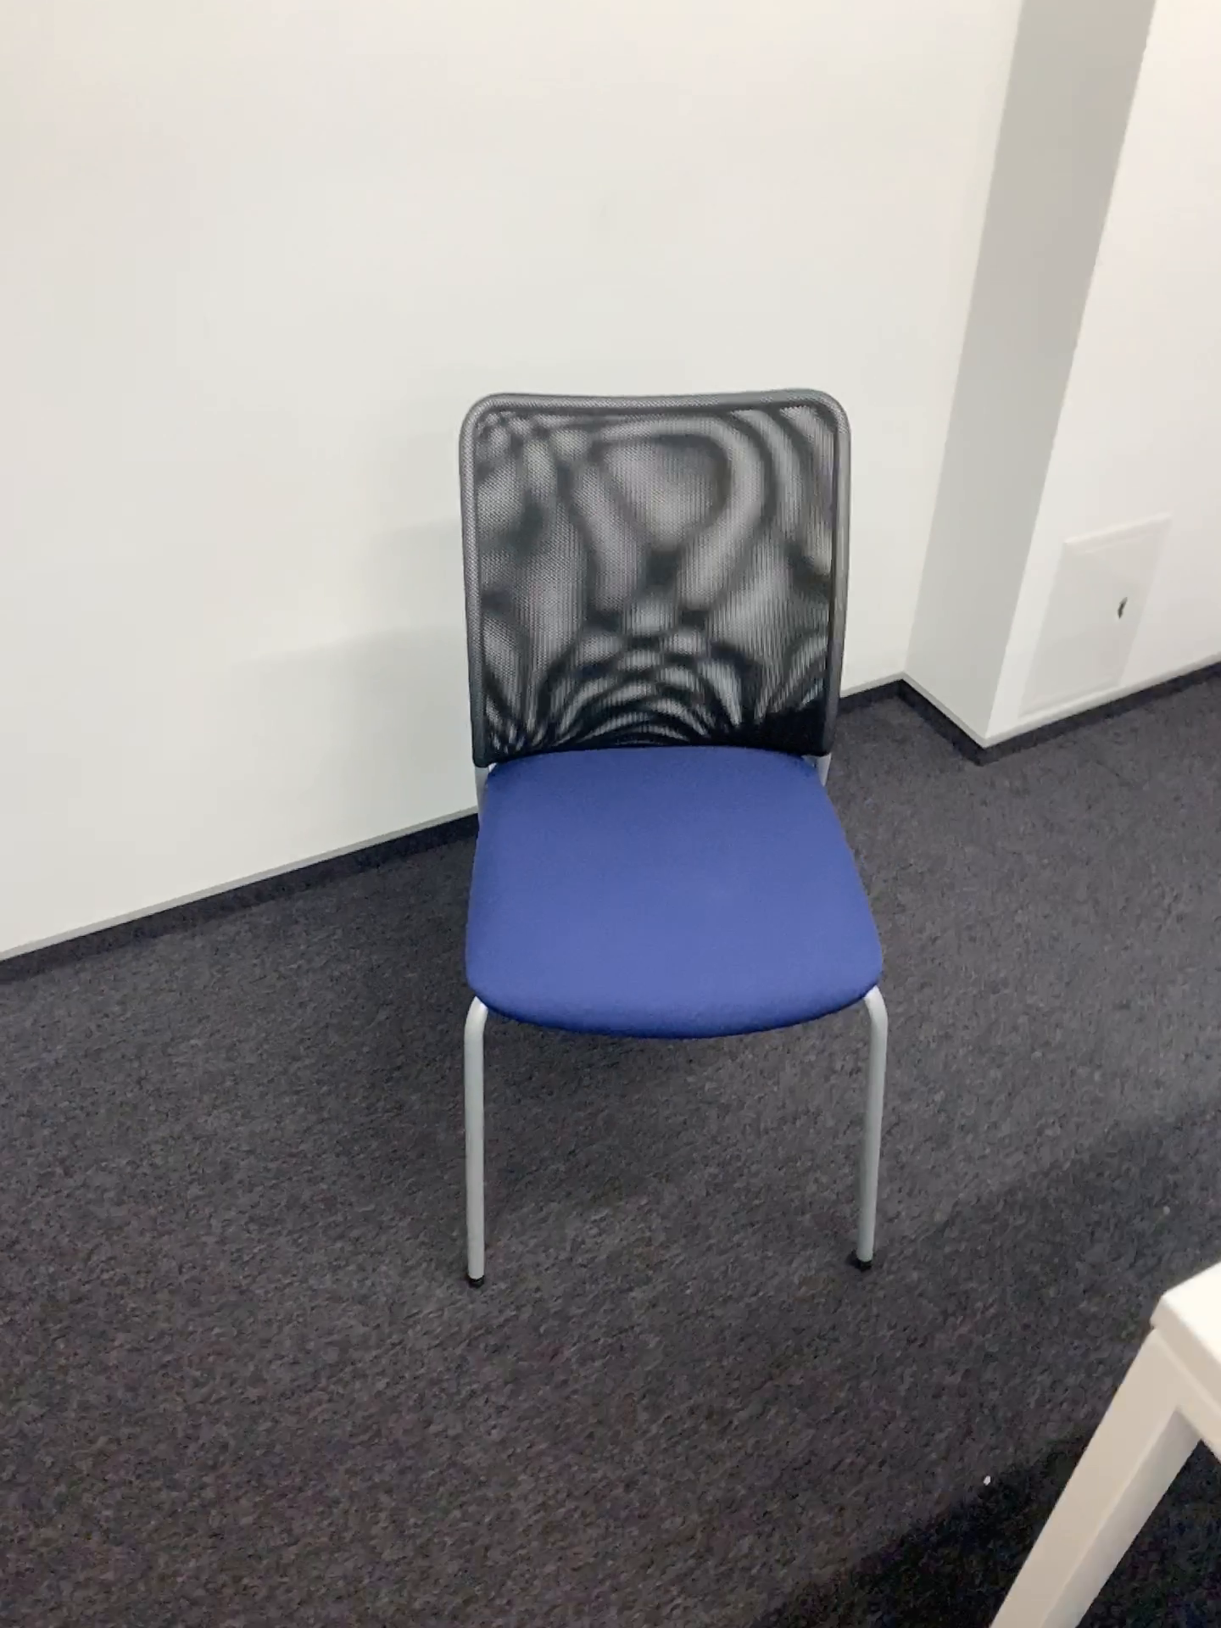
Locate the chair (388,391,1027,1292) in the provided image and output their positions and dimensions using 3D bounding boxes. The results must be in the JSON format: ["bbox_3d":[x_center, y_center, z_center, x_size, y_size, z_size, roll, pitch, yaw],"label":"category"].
[{"bbox_3d":[0.068,0.045,1.455,0.490,0.865,0.593,-1,39,-1],"label":"chair"}]
